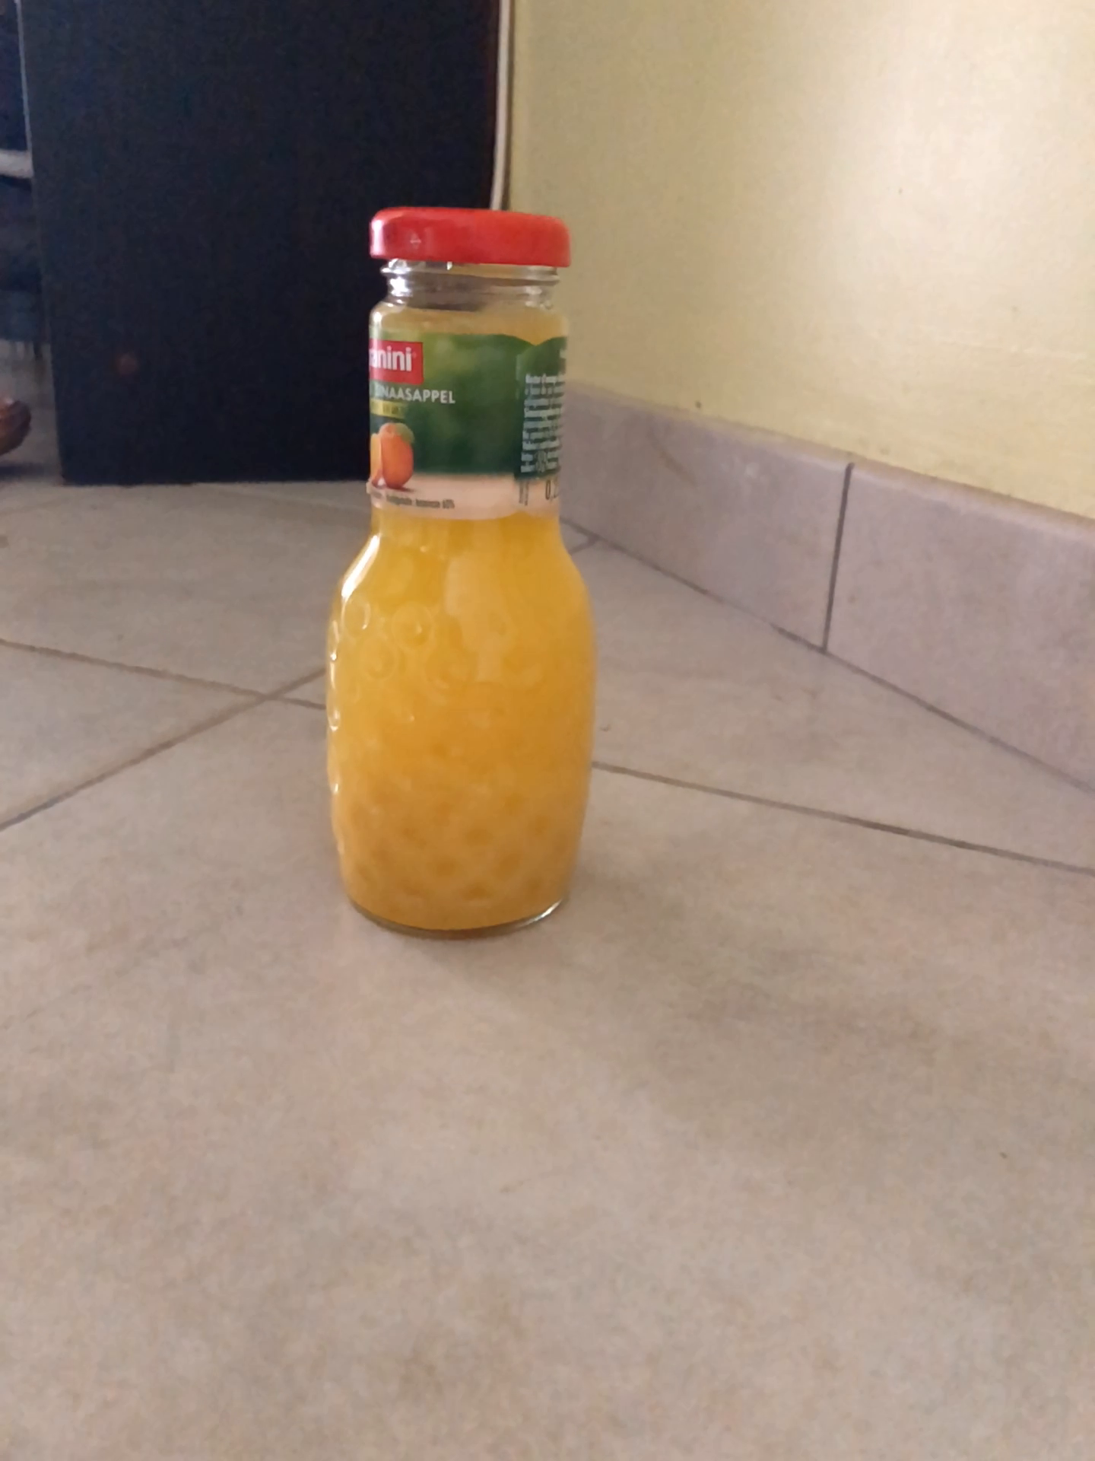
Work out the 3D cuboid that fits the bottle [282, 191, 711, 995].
[{"bbox_3d":[-0.016,-0.034,0.277,0.060,0.159,0.070,-11,25,-33],"label":"bottle"}]
